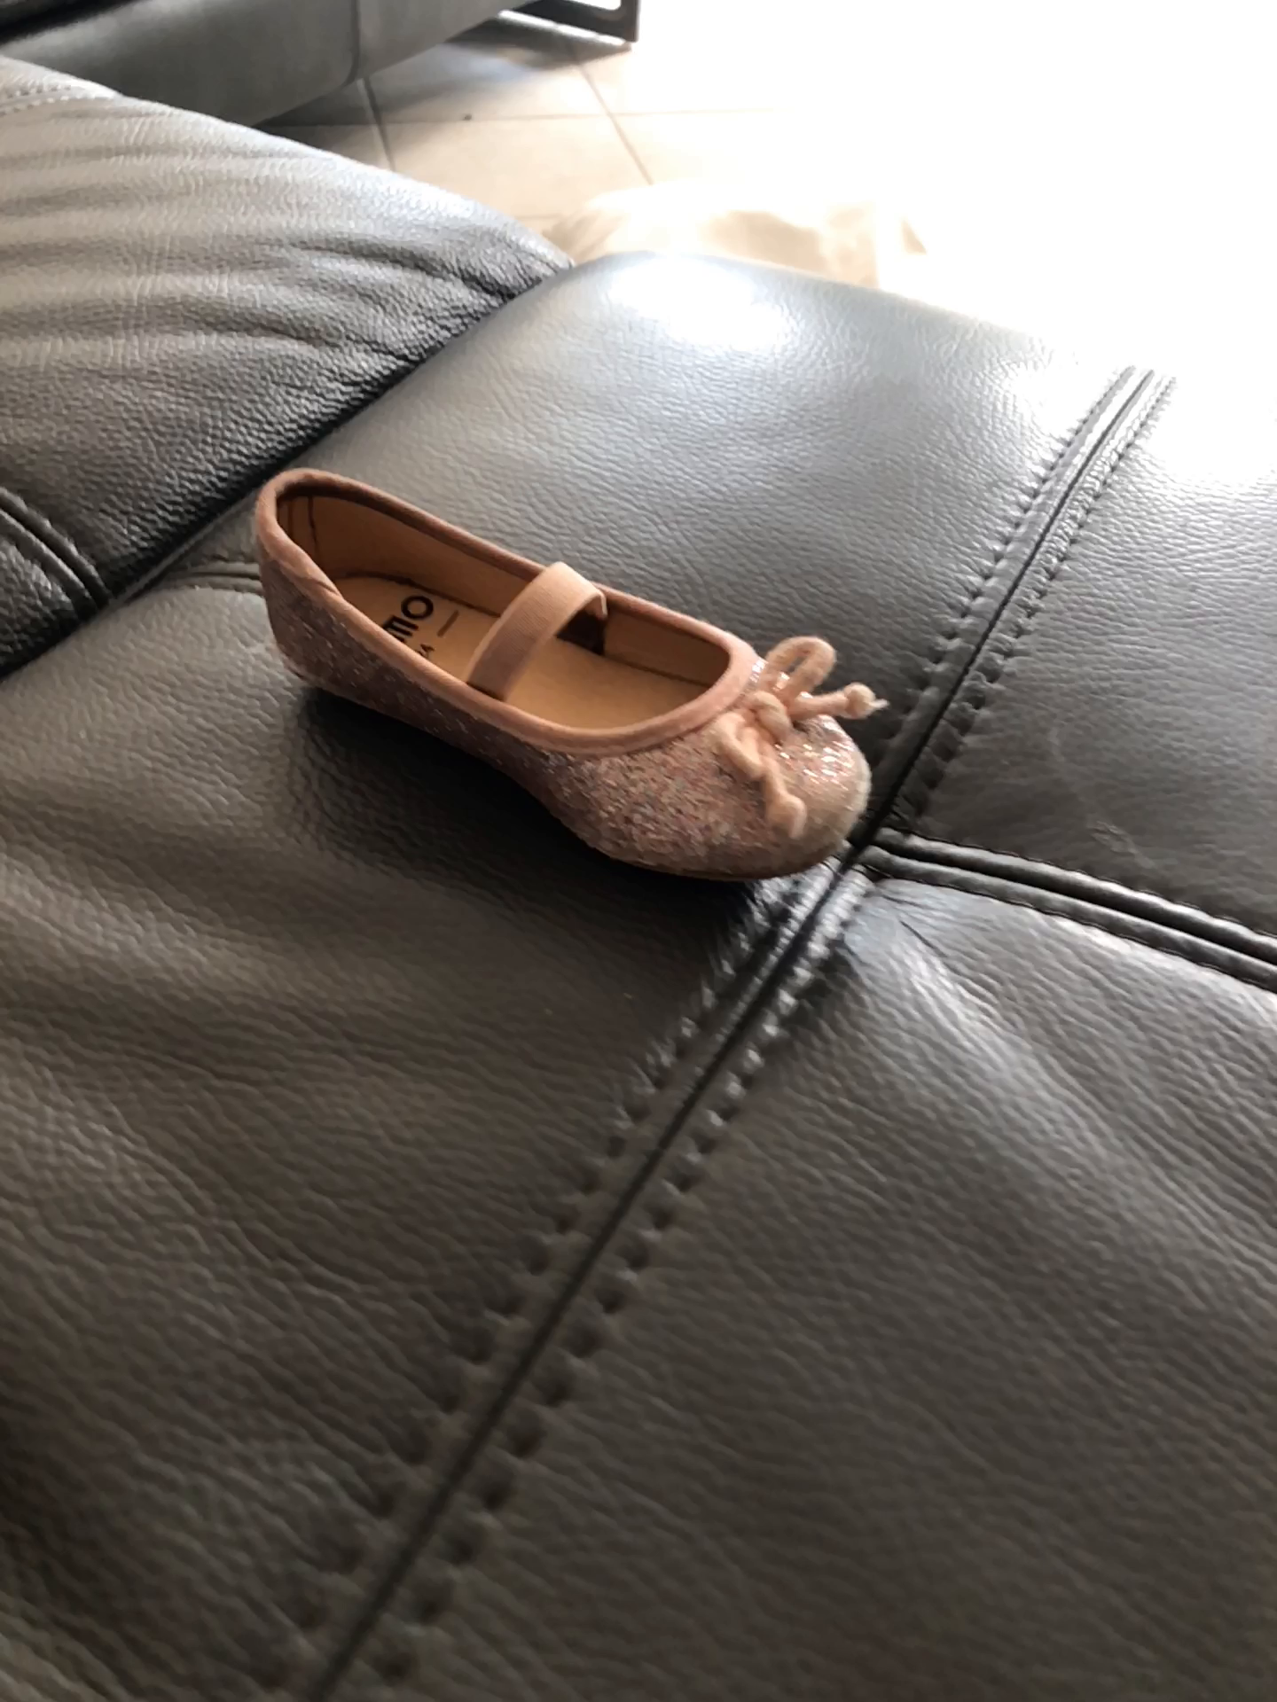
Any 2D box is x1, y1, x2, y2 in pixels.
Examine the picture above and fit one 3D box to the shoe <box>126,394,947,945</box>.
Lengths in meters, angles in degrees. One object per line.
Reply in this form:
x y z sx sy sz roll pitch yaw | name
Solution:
-0.023 -0.046 0.312 0.160 0.040 0.070 23 49 17 | shoe
